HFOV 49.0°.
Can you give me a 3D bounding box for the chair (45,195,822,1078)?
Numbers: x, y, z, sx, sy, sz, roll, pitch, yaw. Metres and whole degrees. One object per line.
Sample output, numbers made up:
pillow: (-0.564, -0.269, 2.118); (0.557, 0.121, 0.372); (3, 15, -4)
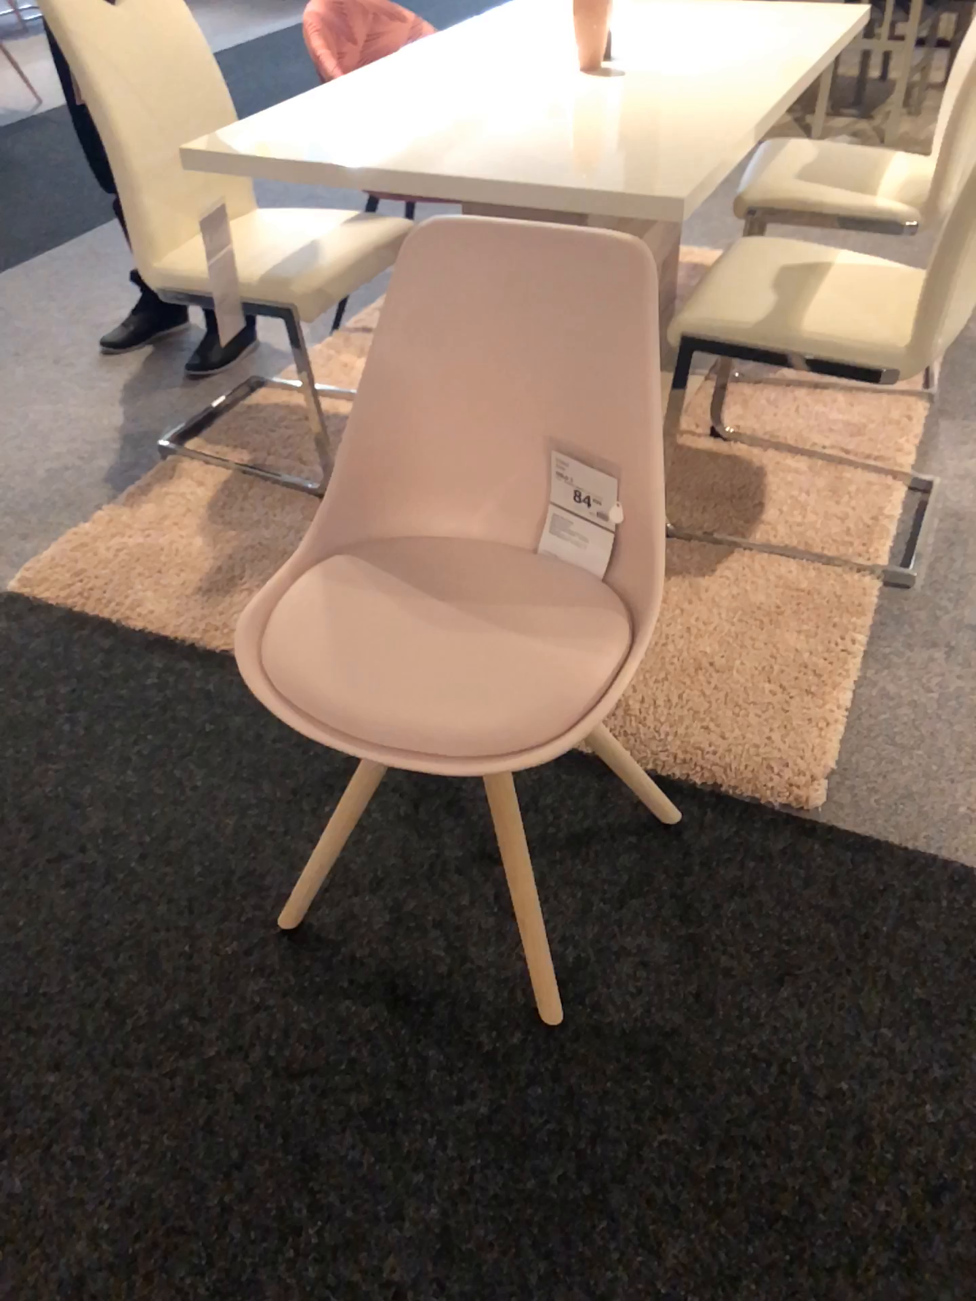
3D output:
chair: (-0.003, -0.039, 1.282); (0.570, 0.765, 0.564); (14, 41, 19)
